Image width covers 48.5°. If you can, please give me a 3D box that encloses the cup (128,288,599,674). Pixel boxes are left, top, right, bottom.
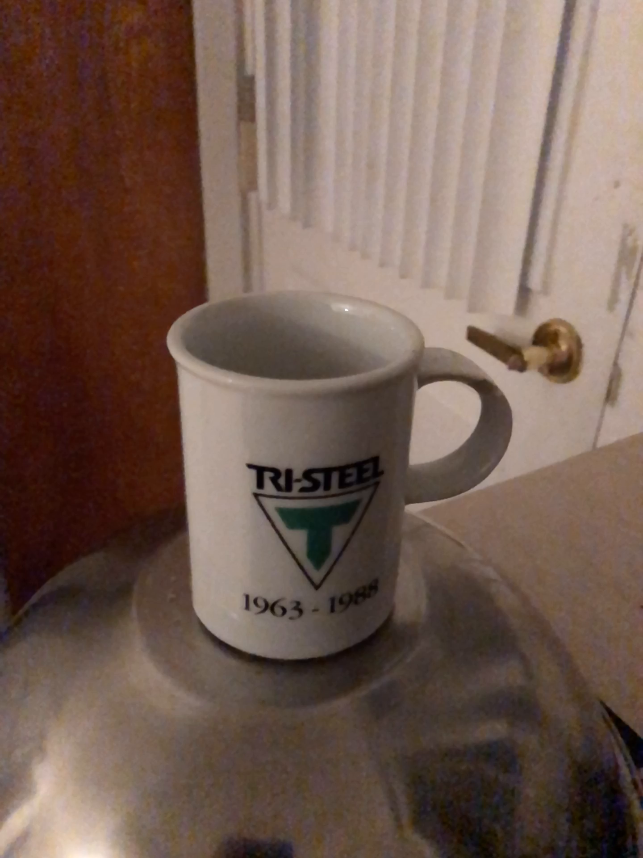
[{"bbox_3d":[0.008,0.015,0.230,0.116,0.099,0.071,0,31,-3],"label":"cup"}]
